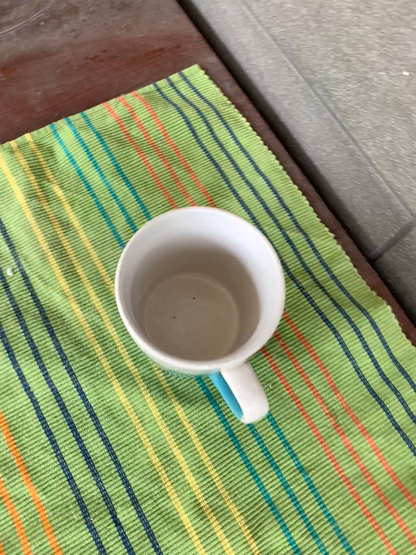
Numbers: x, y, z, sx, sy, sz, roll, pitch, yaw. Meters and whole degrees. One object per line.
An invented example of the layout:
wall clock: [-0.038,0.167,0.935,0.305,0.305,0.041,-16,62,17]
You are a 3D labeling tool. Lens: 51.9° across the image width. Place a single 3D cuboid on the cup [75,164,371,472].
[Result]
cup: [0.001,0.028,0.276,0.100,0.100,0.140,-29,74,-16]
